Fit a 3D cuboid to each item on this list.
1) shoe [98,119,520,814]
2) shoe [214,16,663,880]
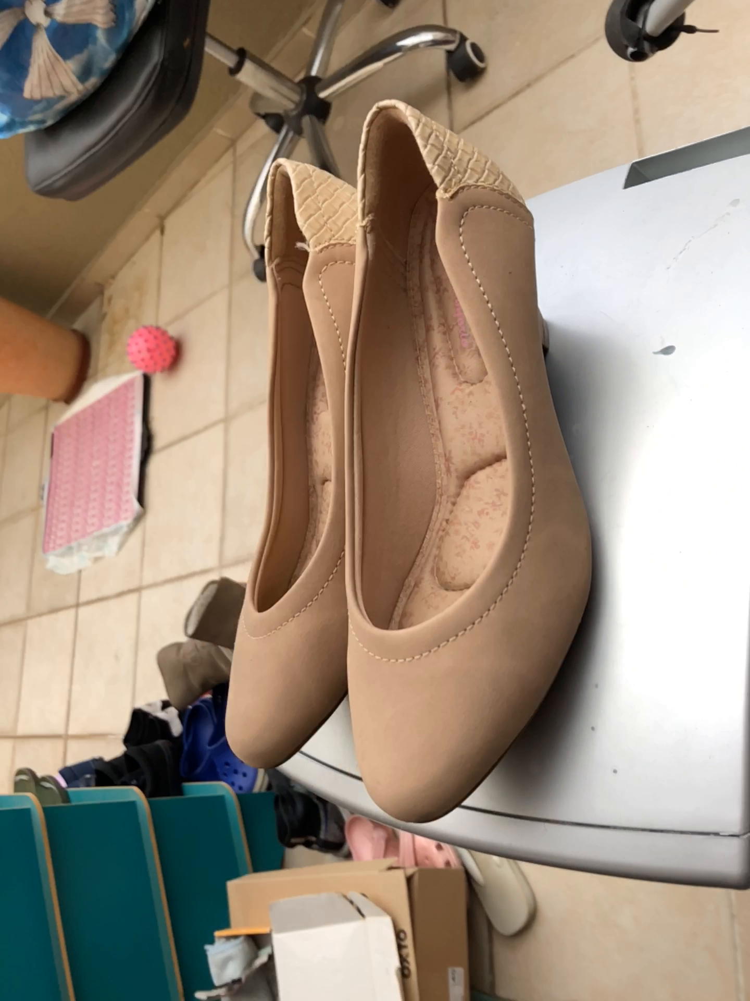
[{"bbox_3d":[-0.023,-0.008,0.359,0.091,0.119,0.244,0,80,48],"label":"shoe"},{"bbox_3d":[0.031,-0.012,0.300,0.091,0.119,0.244,-6,75,47],"label":"shoe"}]
